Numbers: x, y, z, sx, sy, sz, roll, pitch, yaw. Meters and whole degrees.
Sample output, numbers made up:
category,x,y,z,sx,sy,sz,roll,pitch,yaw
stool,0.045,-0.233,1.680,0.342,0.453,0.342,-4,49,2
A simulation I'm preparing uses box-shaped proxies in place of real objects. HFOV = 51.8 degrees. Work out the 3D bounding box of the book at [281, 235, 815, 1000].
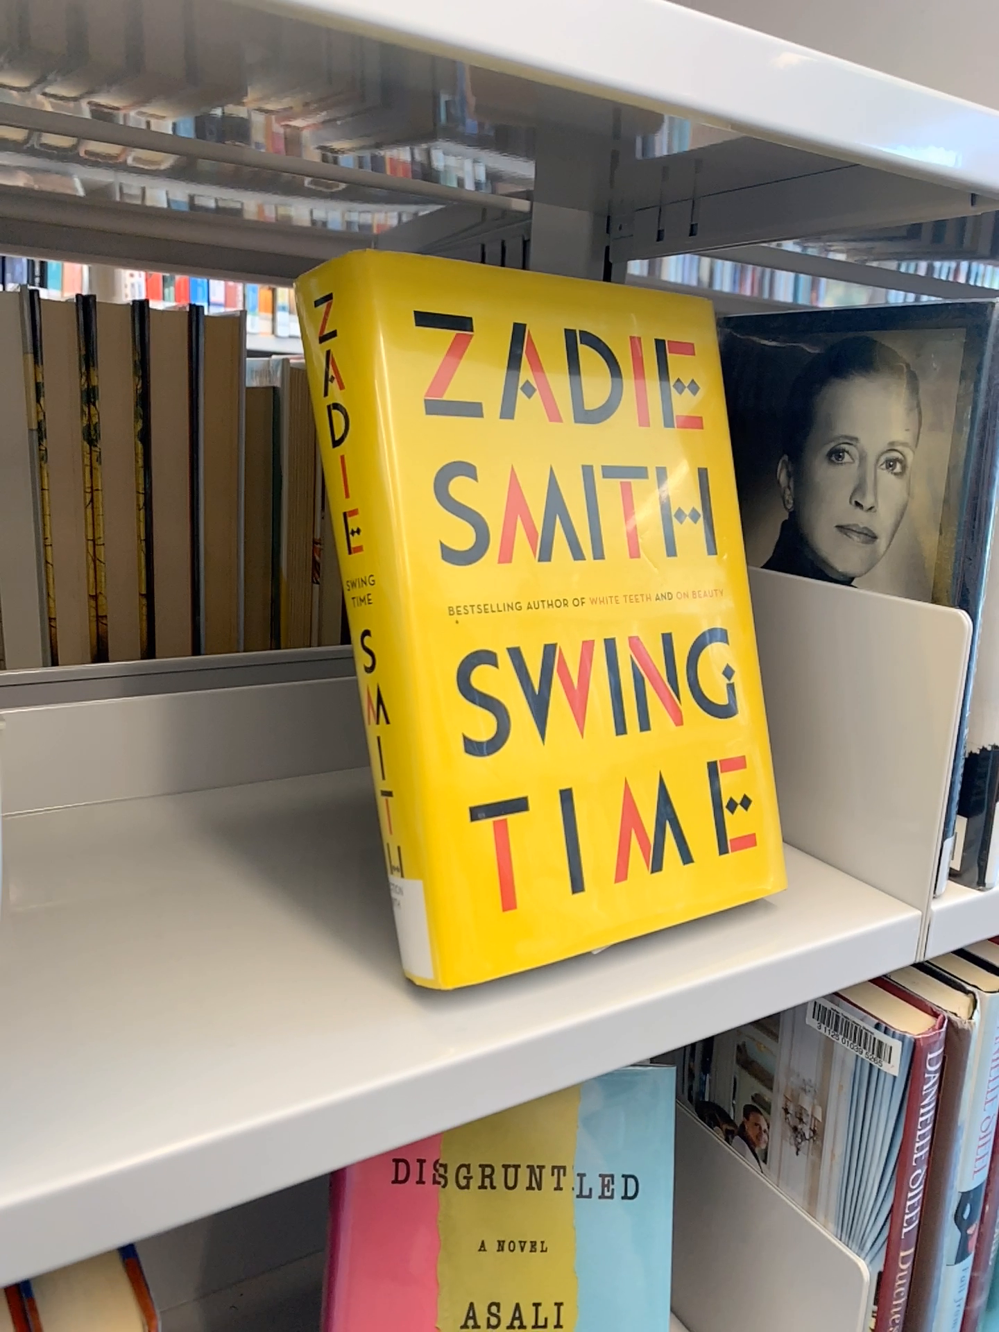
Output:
category,x,y,z,sx,sy,sz,roll,pitch,yaw
book,0.023,-0.021,0.381,0.168,0.233,0.060,-6,-3,-34
